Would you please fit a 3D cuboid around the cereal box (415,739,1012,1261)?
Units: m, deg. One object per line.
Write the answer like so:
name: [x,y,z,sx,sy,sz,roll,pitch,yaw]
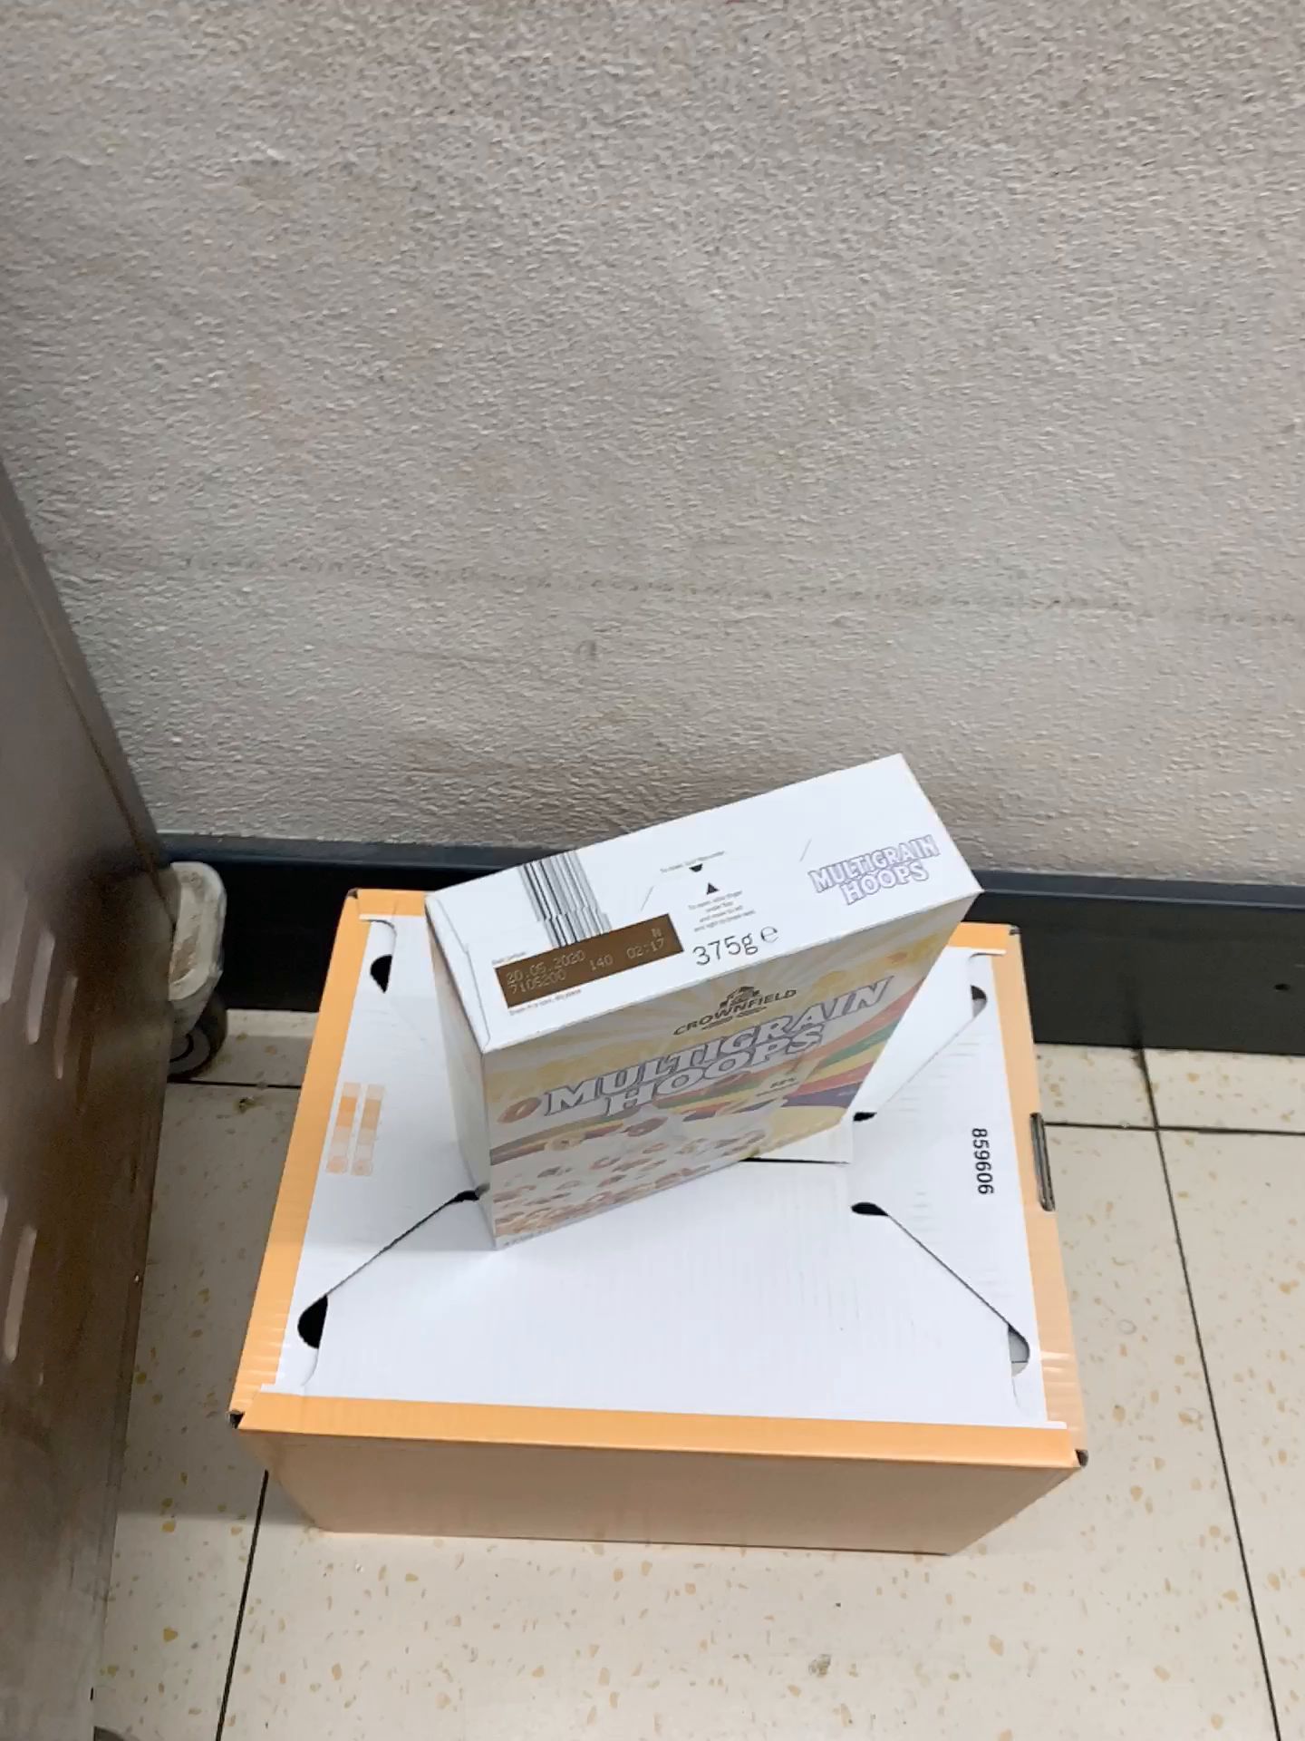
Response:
cereal box: [0.013,0.069,0.578,0.200,0.248,0.070,-17,63,-15]
